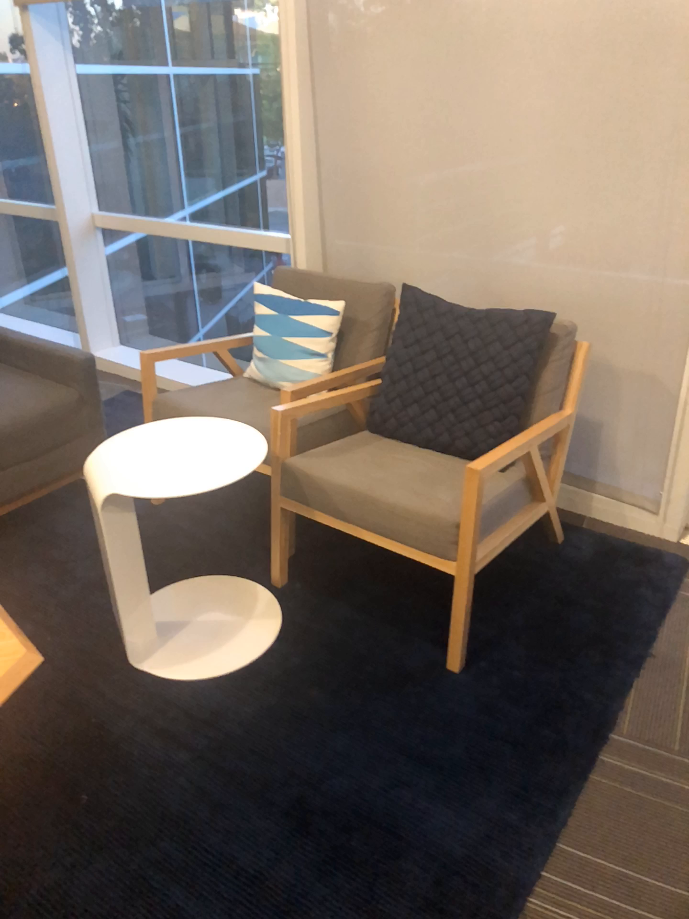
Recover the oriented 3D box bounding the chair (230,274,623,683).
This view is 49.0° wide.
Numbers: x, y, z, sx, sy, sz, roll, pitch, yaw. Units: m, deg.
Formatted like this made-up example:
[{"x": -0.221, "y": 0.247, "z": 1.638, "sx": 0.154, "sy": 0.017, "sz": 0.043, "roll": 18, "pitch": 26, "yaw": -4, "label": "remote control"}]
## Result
[{"x": 0.263, "y": -0.035, "z": 2.253, "sx": 0.740, "sy": 0.774, "sz": 0.856, "roll": 17, "pitch": 32, "yaw": 33, "label": "chair"}]
